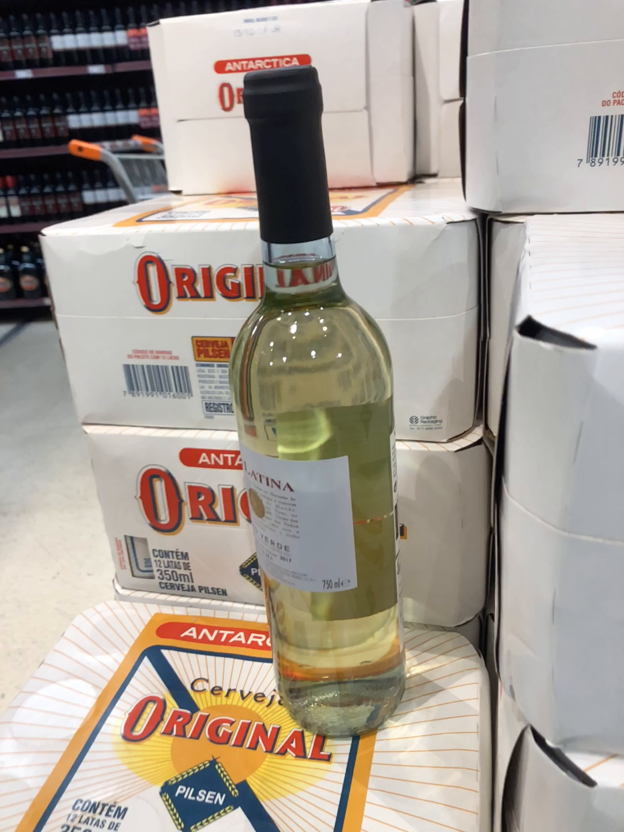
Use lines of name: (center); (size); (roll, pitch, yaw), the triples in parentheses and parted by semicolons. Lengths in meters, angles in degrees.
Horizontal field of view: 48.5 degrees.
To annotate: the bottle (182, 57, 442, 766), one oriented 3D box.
bottle: (0.005, 0.009, 0.323); (0.070, 0.308, 0.080); (-14, 26, -22)
